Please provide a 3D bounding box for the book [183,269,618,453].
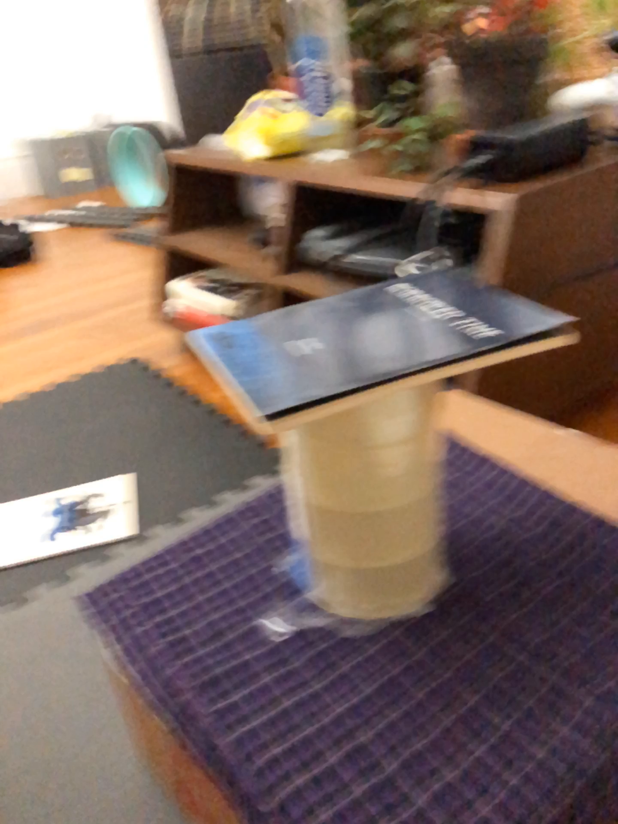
[{"bbox_3d":[0.053,-0.046,0.434,0.230,0.010,0.161,-15,30,-19],"label":"book"}]
